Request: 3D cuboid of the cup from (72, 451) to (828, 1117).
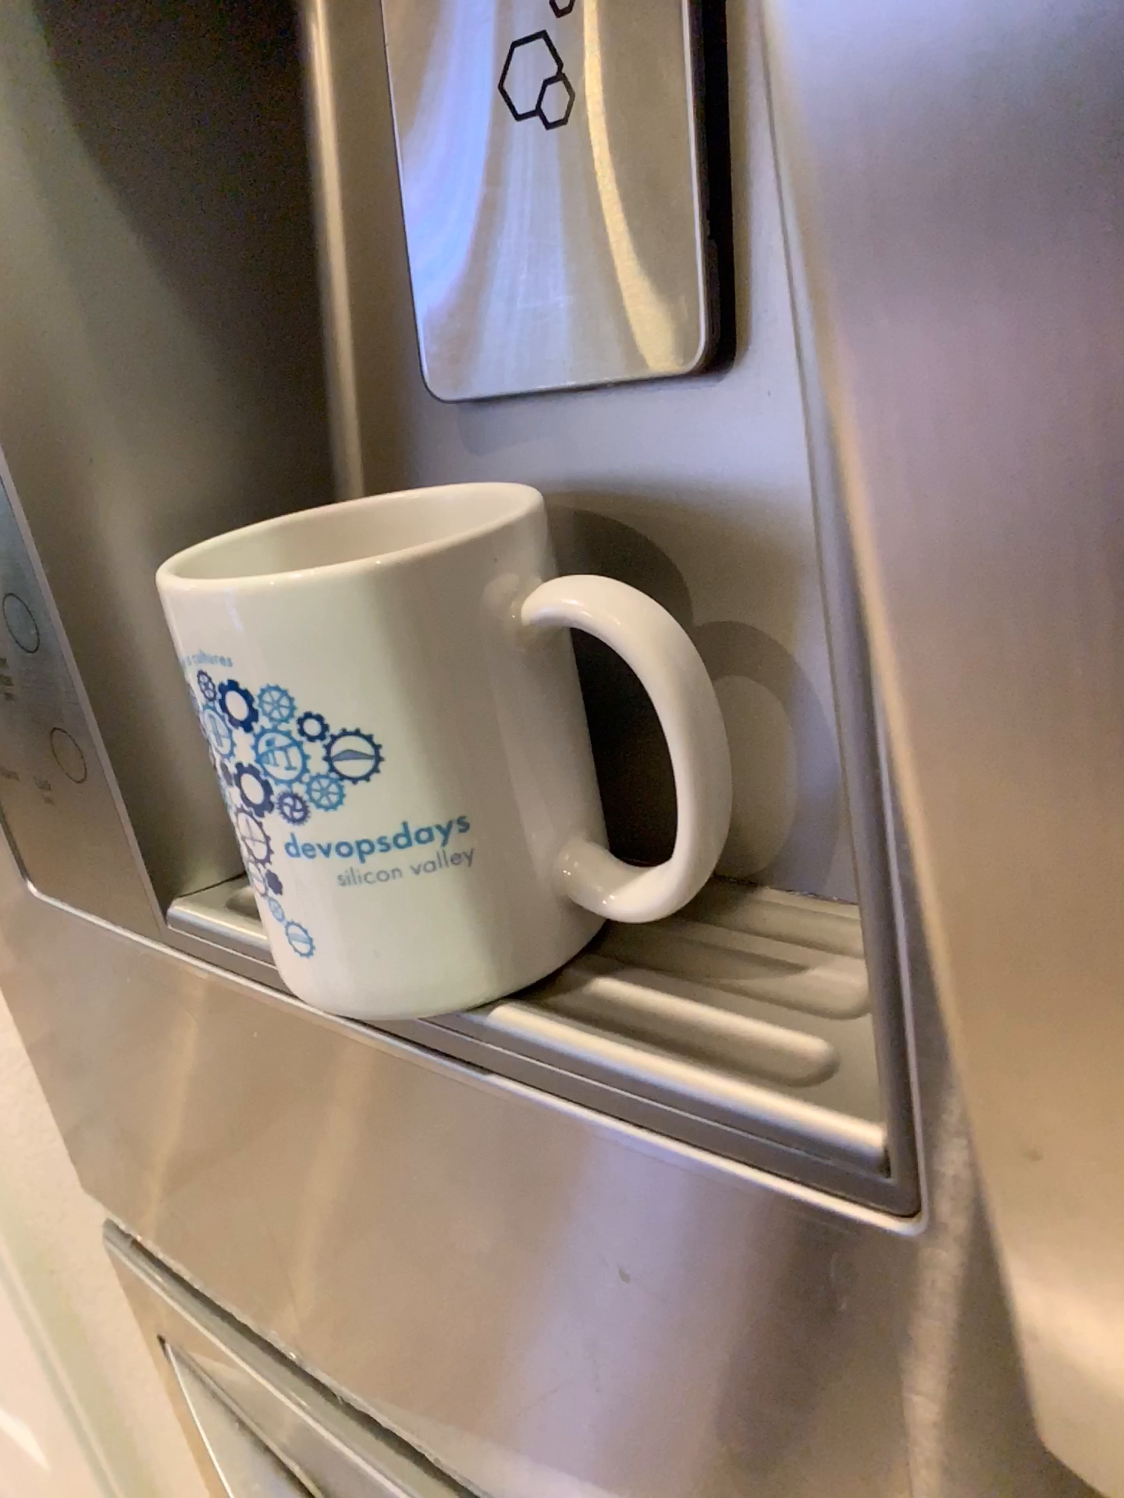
[{"bbox_3d":[-0.019,0.000,0.252,0.120,0.099,0.080,3,25,33],"label":"cup"}]
